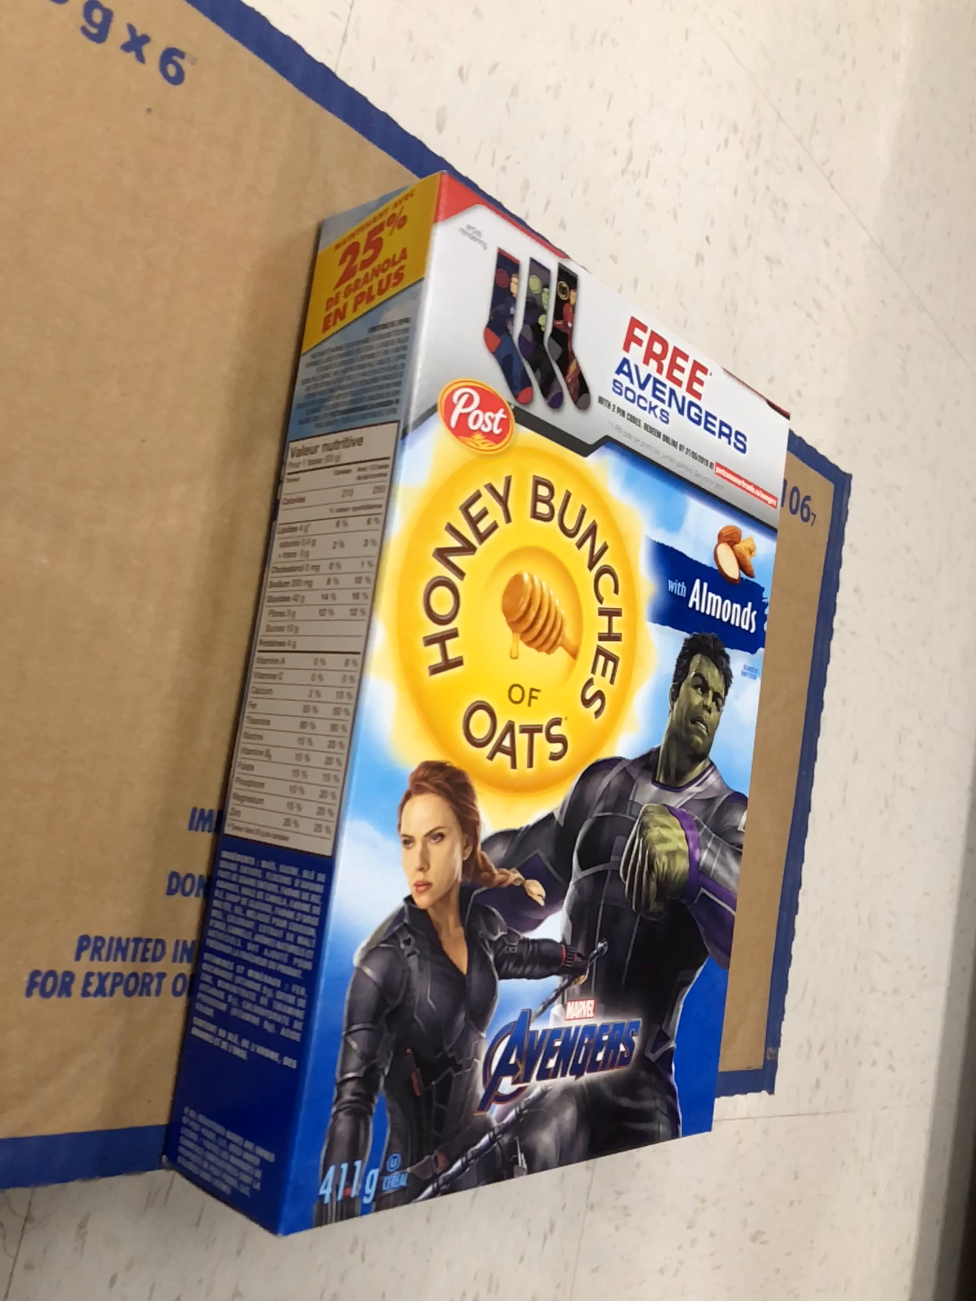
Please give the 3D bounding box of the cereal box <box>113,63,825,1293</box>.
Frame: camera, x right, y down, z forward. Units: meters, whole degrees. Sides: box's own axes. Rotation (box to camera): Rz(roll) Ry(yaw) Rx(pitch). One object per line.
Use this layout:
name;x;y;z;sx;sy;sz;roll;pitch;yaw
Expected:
cereal box;0.015;0.014;0.345;0.201;0.070;0.290;15;80;-46
